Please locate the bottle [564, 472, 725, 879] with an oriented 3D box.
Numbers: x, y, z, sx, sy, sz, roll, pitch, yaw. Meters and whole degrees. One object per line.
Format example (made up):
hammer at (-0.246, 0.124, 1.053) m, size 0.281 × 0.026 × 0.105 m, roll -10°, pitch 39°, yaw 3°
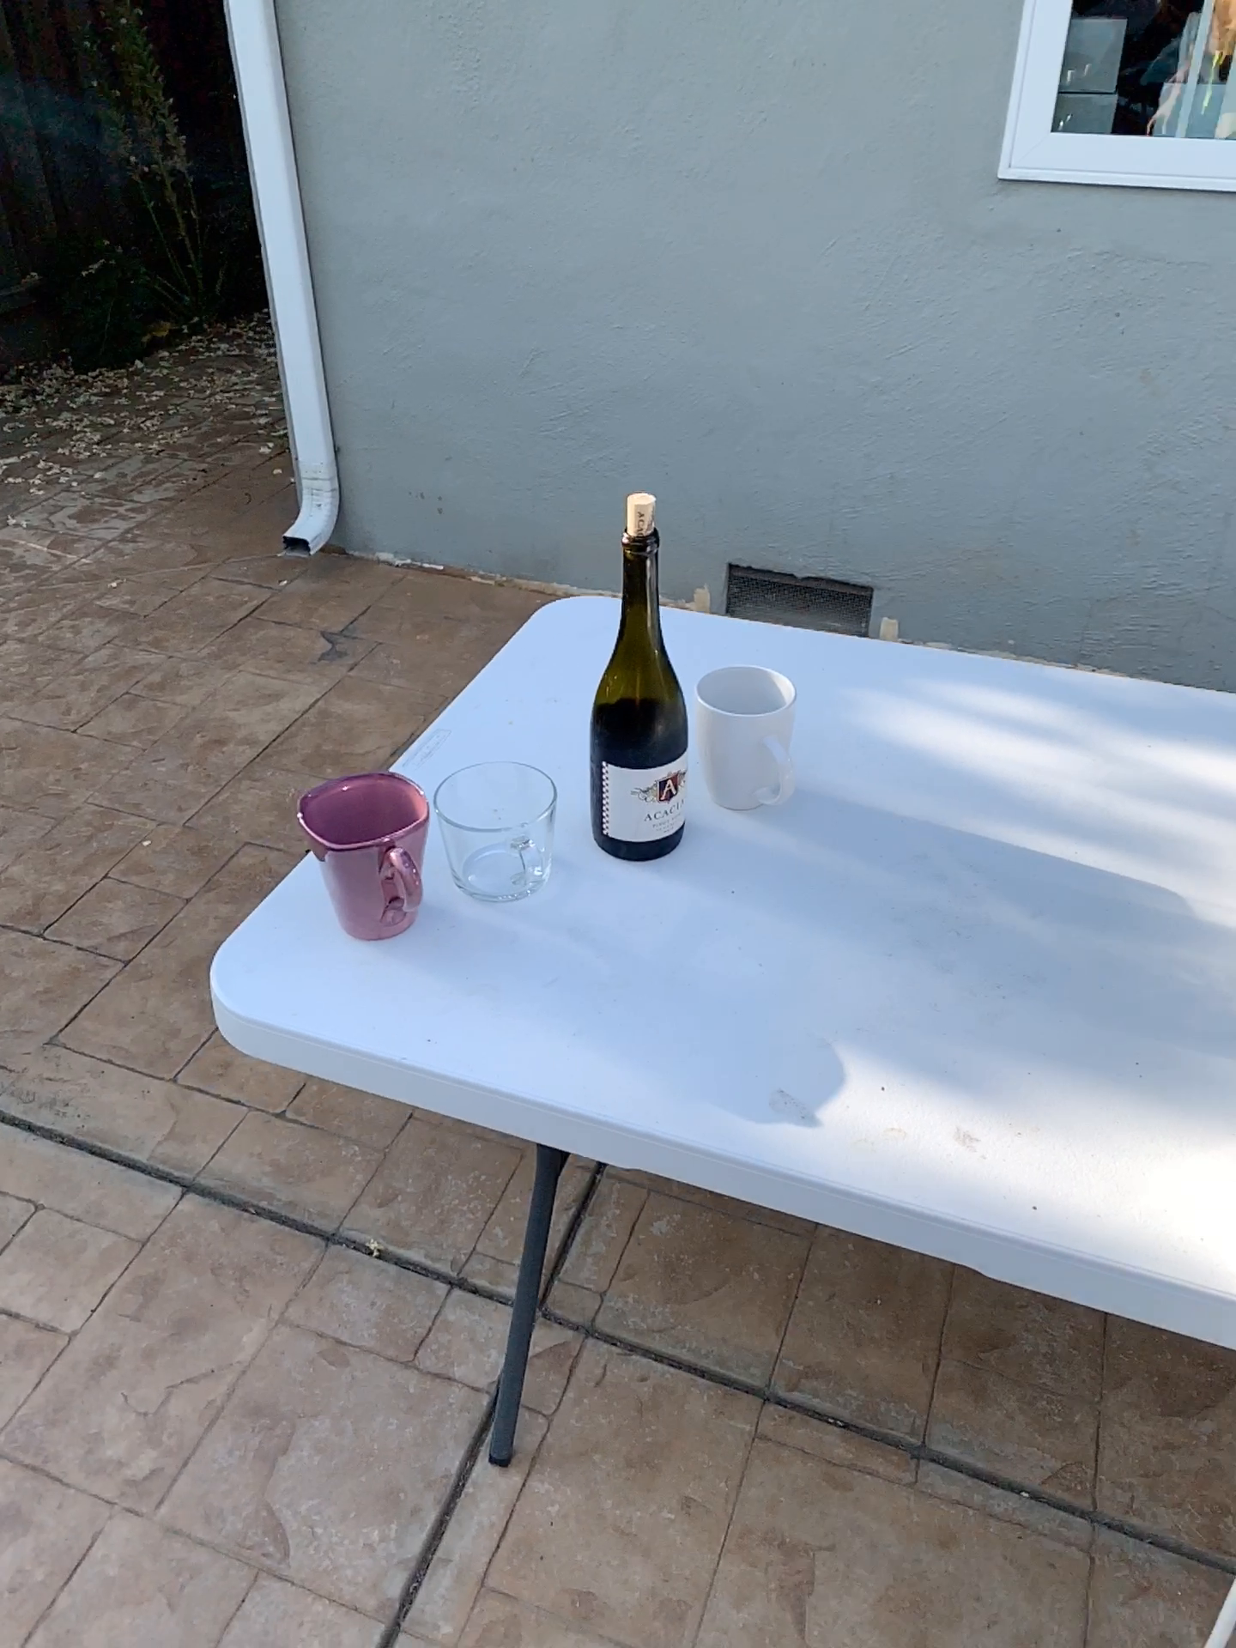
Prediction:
bottle at (0.019, -0.115, 1.030) m, size 0.080 × 0.308 × 0.090 m, roll -29°, pitch 44°, yaw -35°
